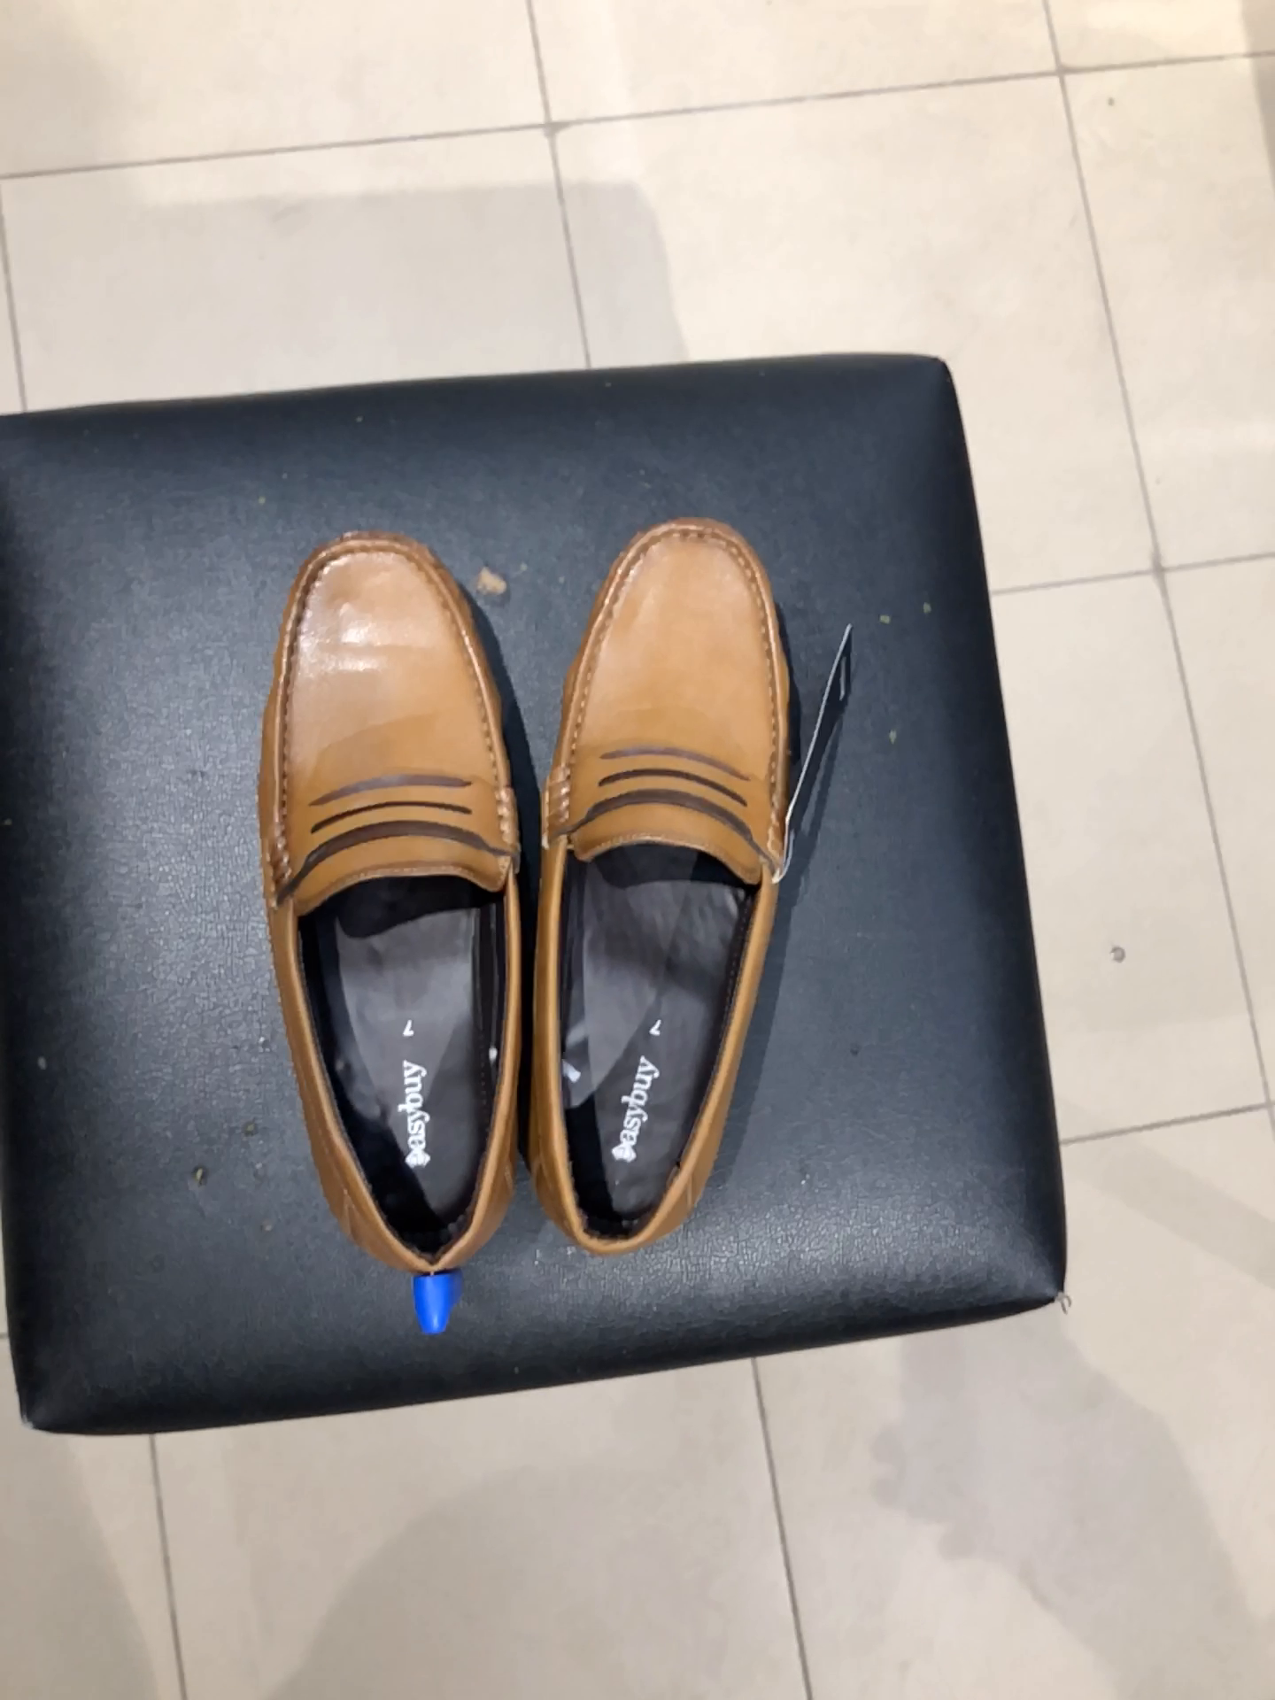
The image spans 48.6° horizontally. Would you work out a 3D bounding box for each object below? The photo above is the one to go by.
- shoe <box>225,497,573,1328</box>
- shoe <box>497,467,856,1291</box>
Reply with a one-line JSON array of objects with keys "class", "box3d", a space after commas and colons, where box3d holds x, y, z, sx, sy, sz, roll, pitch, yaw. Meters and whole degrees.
[{"class": "shoe", "box3d": [-0.085, 0.020, 0.518, 0.098, 0.088, 0.273, -4, 84, -5]}, {"class": "shoe", "box3d": [0.012, 0.011, 0.524, 0.098, 0.088, 0.273, 6, 83, -4]}]
